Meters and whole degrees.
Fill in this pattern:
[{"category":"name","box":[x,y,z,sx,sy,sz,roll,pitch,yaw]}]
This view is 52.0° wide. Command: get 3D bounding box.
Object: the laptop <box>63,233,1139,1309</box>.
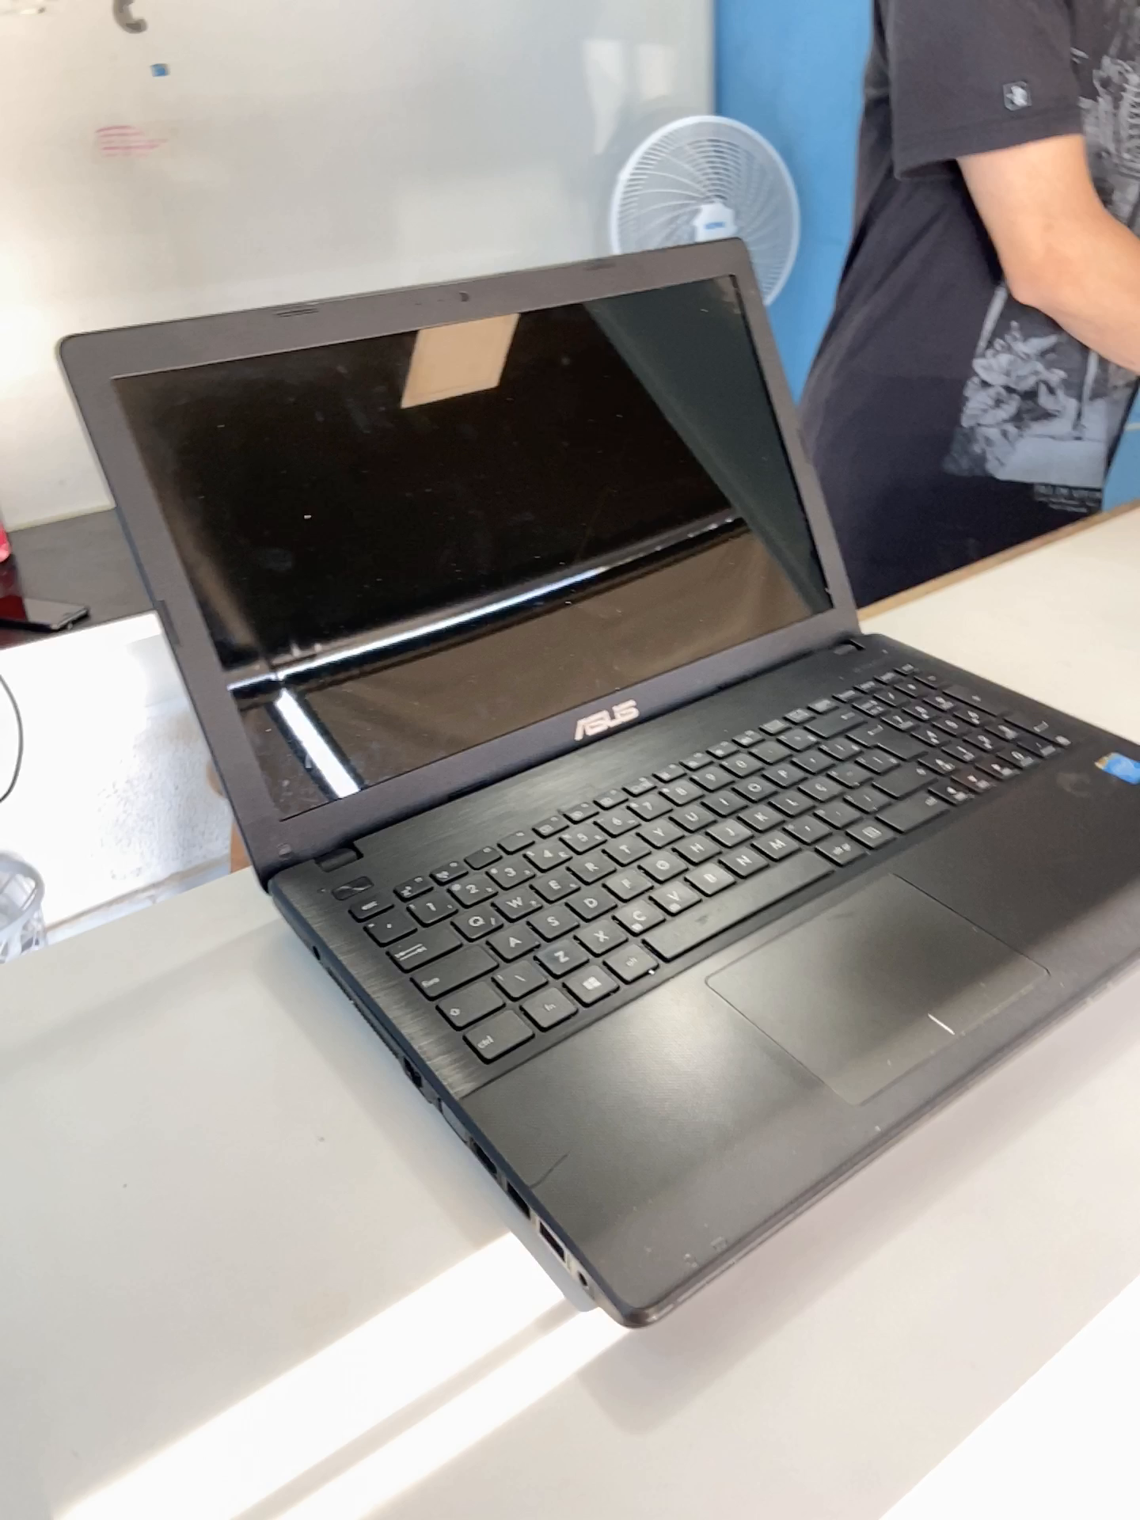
[{"category":"laptop","box":[0.054,-0.072,0.485,0.368,0.201,0.362,-23,36,-28]}]
